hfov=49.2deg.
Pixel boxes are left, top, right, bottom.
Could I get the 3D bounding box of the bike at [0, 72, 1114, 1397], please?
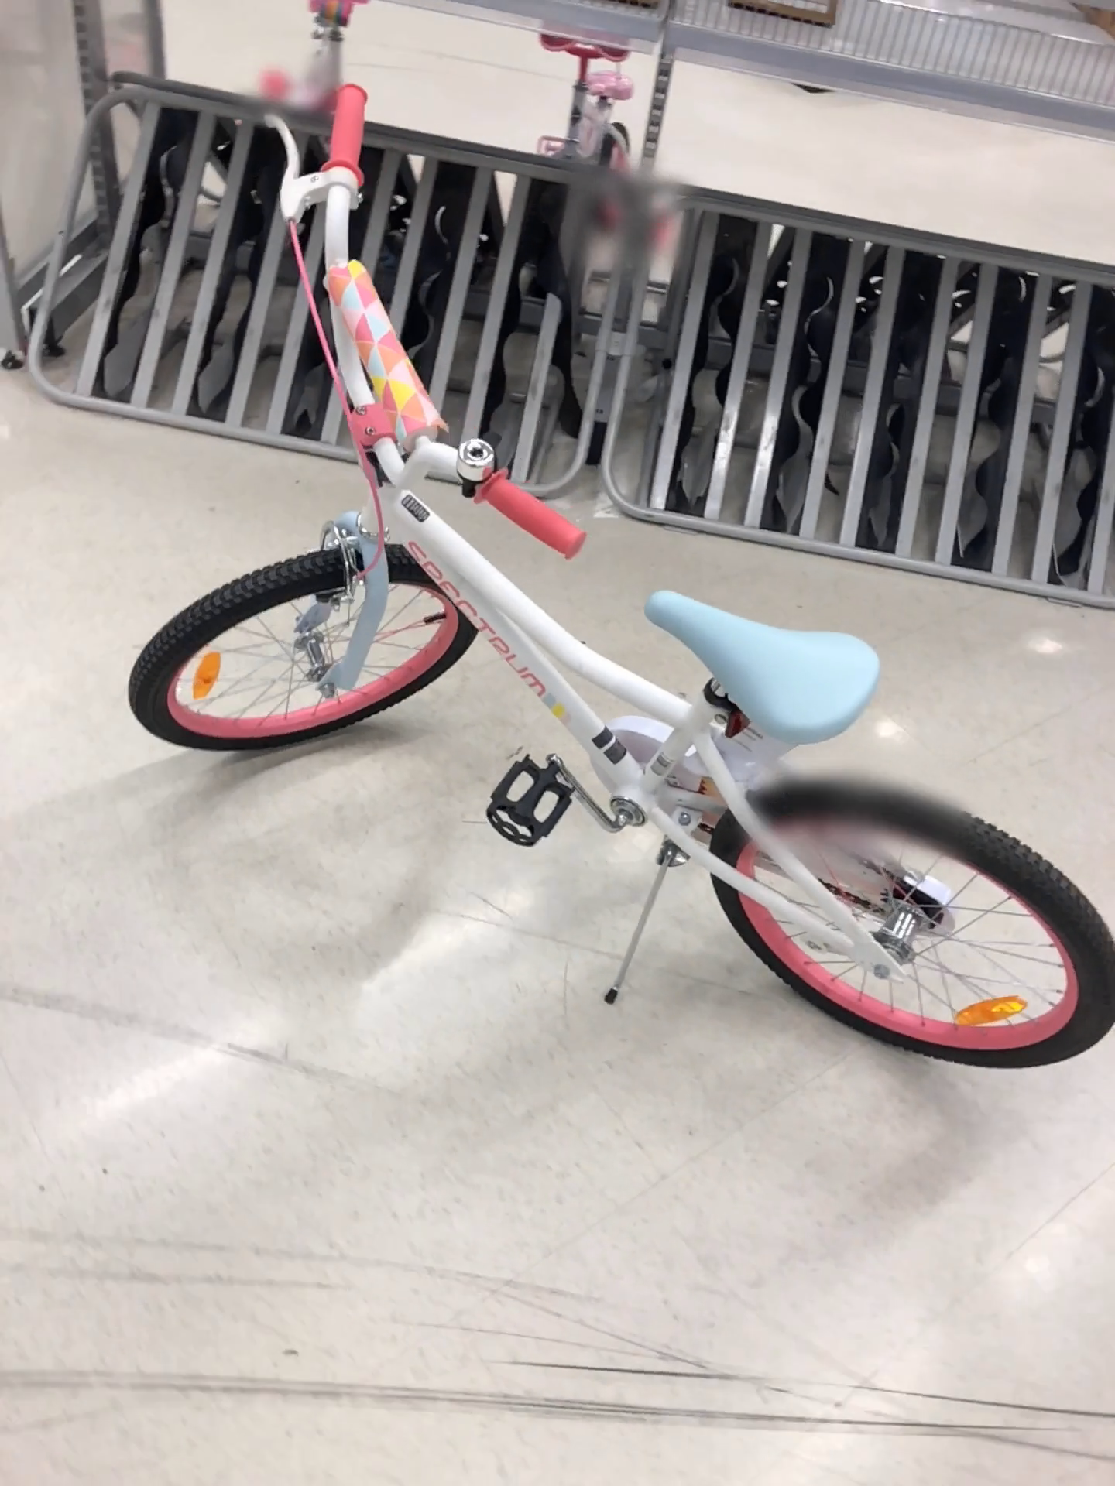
[{"bbox_3d":[0.046,-0.009,1.325,1.251,0.962,0.635,19,44,10],"label":"bike"}]
